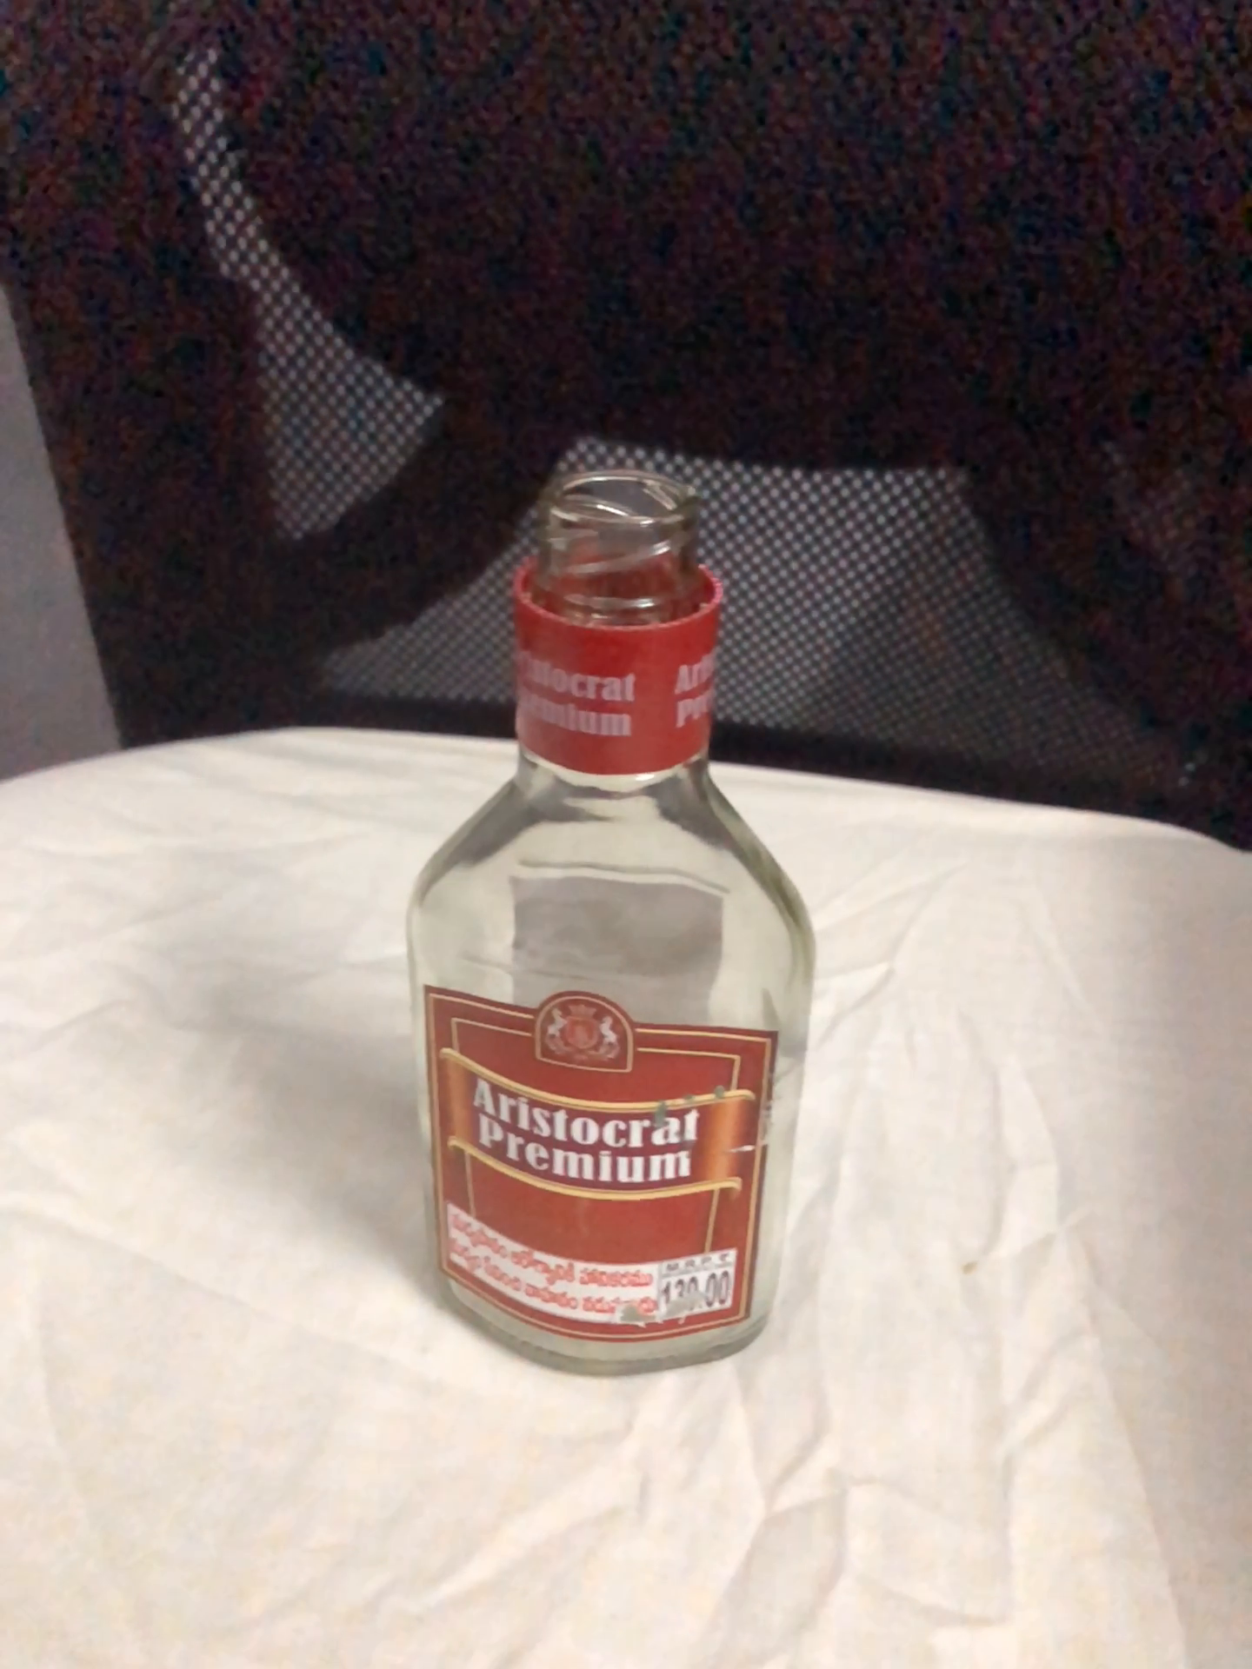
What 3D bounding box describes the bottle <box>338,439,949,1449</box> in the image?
[{"bbox_3d":[0.000,0.029,0.246,0.080,0.179,0.040,8,33,7],"label":"bottle"}]
